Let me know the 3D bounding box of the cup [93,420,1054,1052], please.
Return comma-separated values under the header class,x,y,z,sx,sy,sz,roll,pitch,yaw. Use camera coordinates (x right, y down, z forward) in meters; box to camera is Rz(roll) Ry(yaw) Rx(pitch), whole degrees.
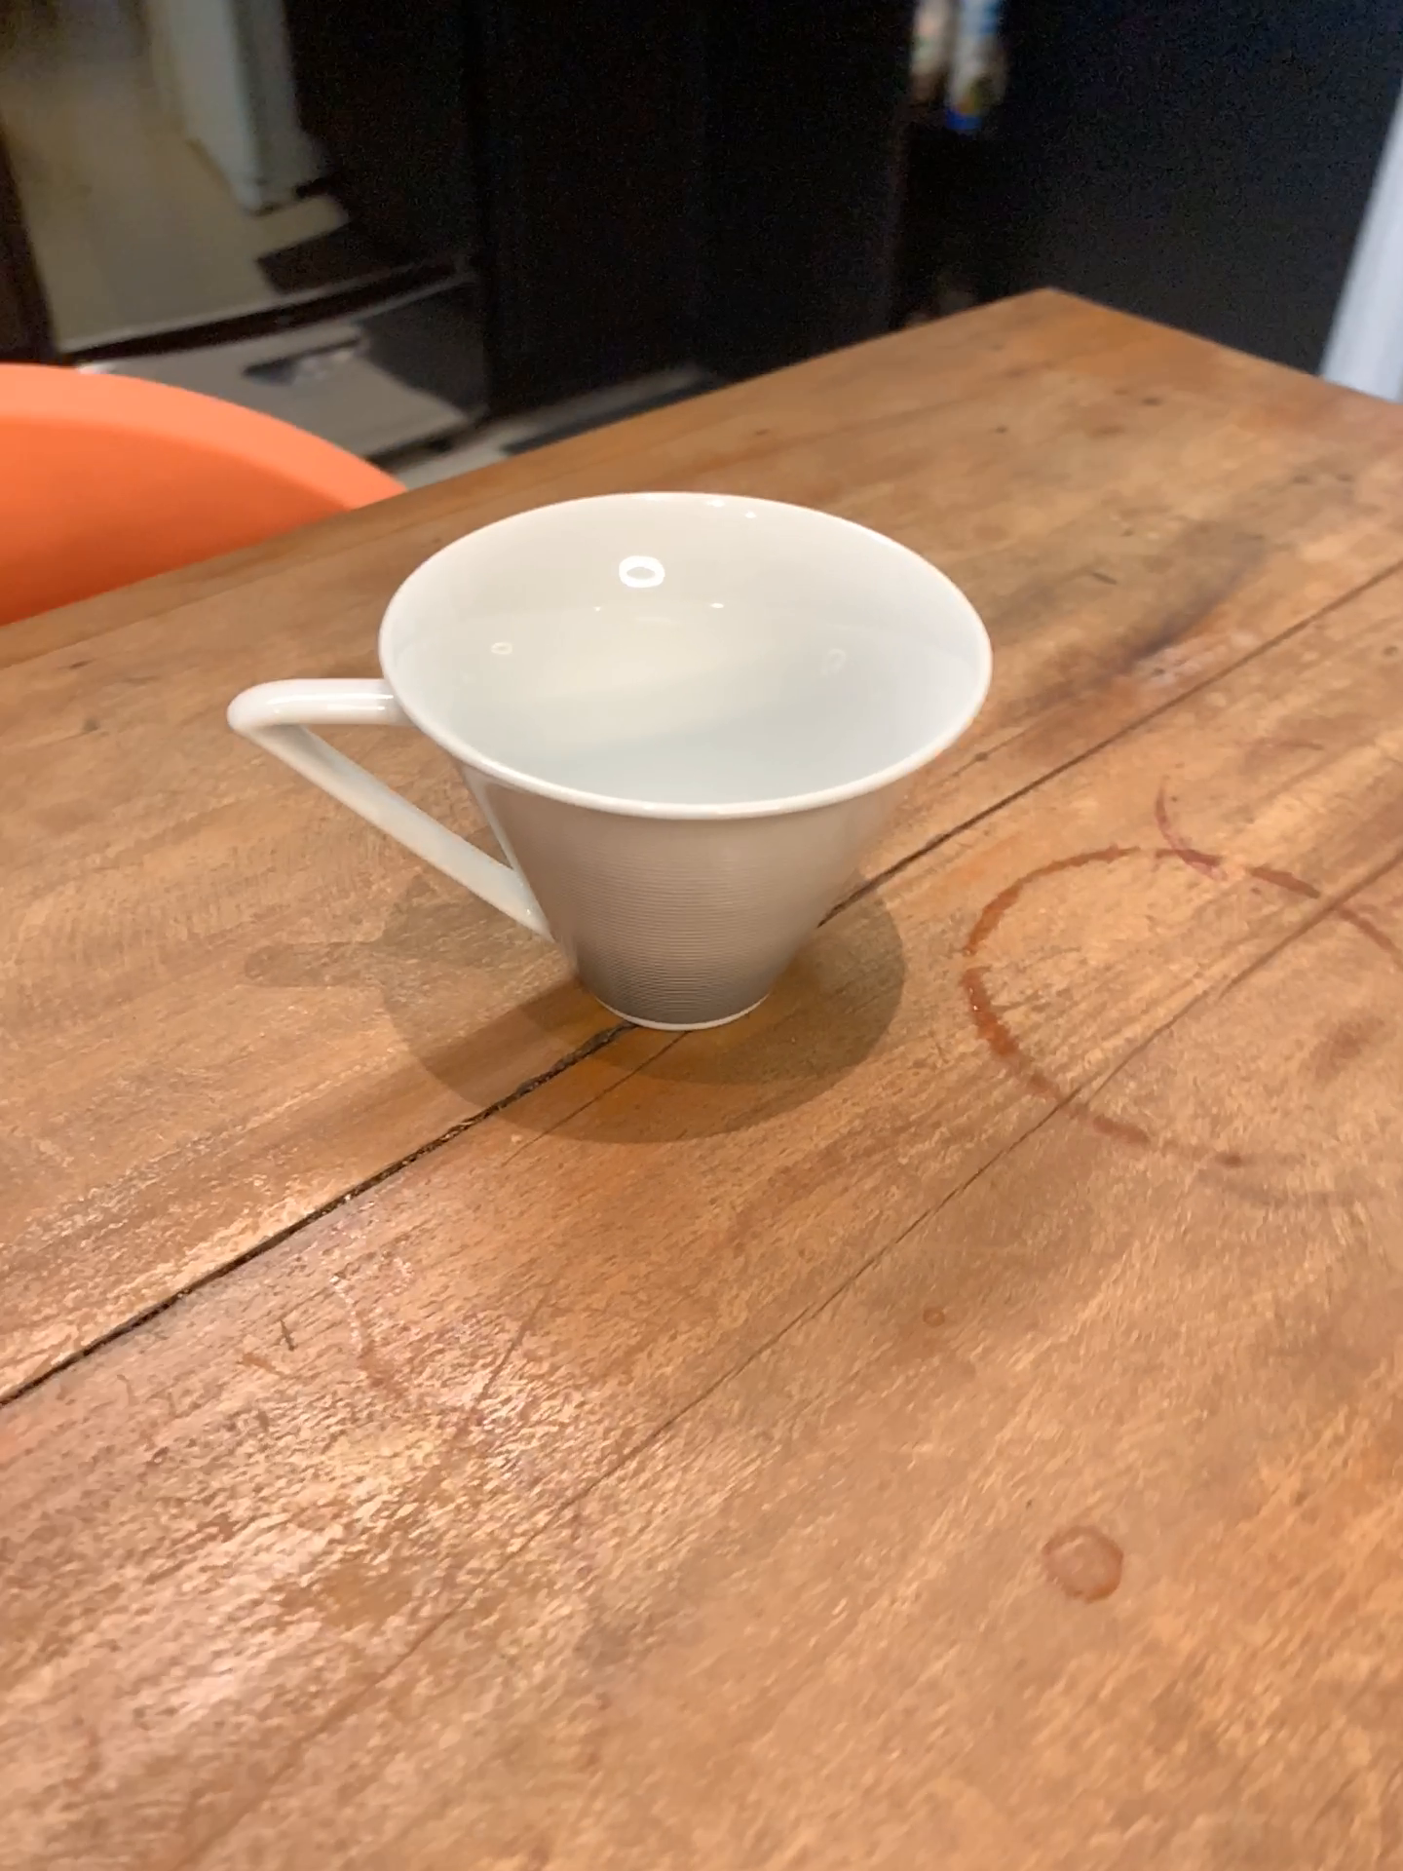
class,x,y,z,sx,sy,sz,roll,pitch,yaw
cup,-0.017,-0.035,0.236,0.120,0.060,0.091,-1,42,-2
